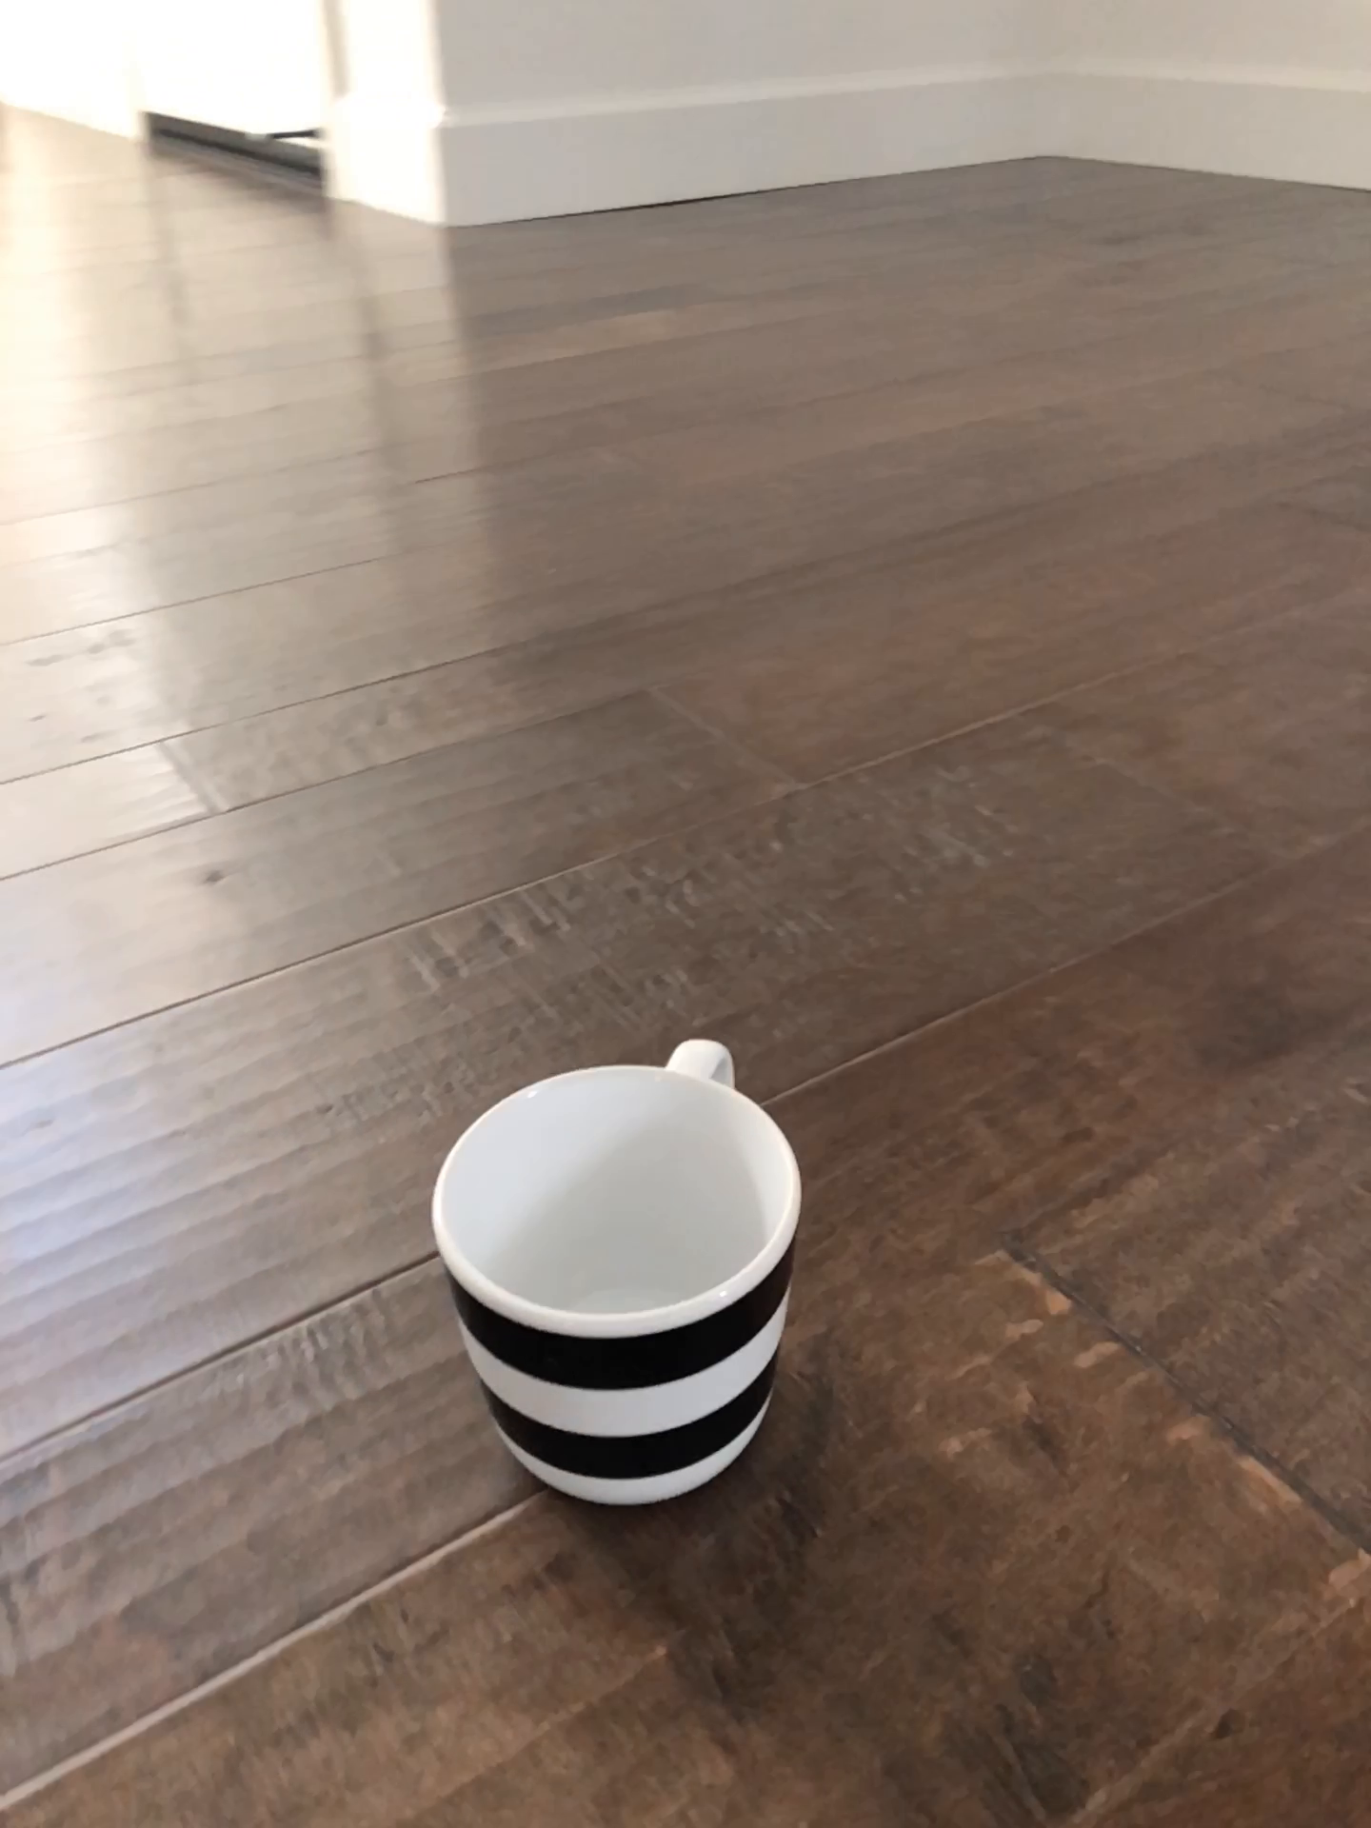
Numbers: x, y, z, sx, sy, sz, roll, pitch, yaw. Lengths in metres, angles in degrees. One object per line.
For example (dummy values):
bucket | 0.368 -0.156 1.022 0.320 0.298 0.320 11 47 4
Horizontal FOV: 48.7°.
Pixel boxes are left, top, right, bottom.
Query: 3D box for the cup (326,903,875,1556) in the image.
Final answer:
cup | -0.012 0.069 0.370 0.090 0.079 0.121 9 34 16
